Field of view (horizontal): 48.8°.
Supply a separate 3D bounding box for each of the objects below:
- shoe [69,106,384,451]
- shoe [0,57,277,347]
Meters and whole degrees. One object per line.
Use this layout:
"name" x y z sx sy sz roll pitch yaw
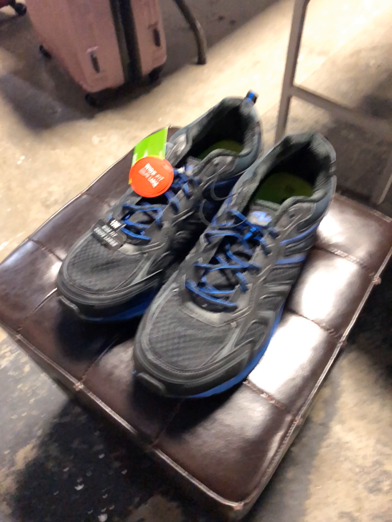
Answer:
"shoe" 0.046 -0.005 0.417 0.130 0.099 0.311 28 61 20
"shoe" -0.050 -0.073 0.449 0.120 0.119 0.281 32 62 23
